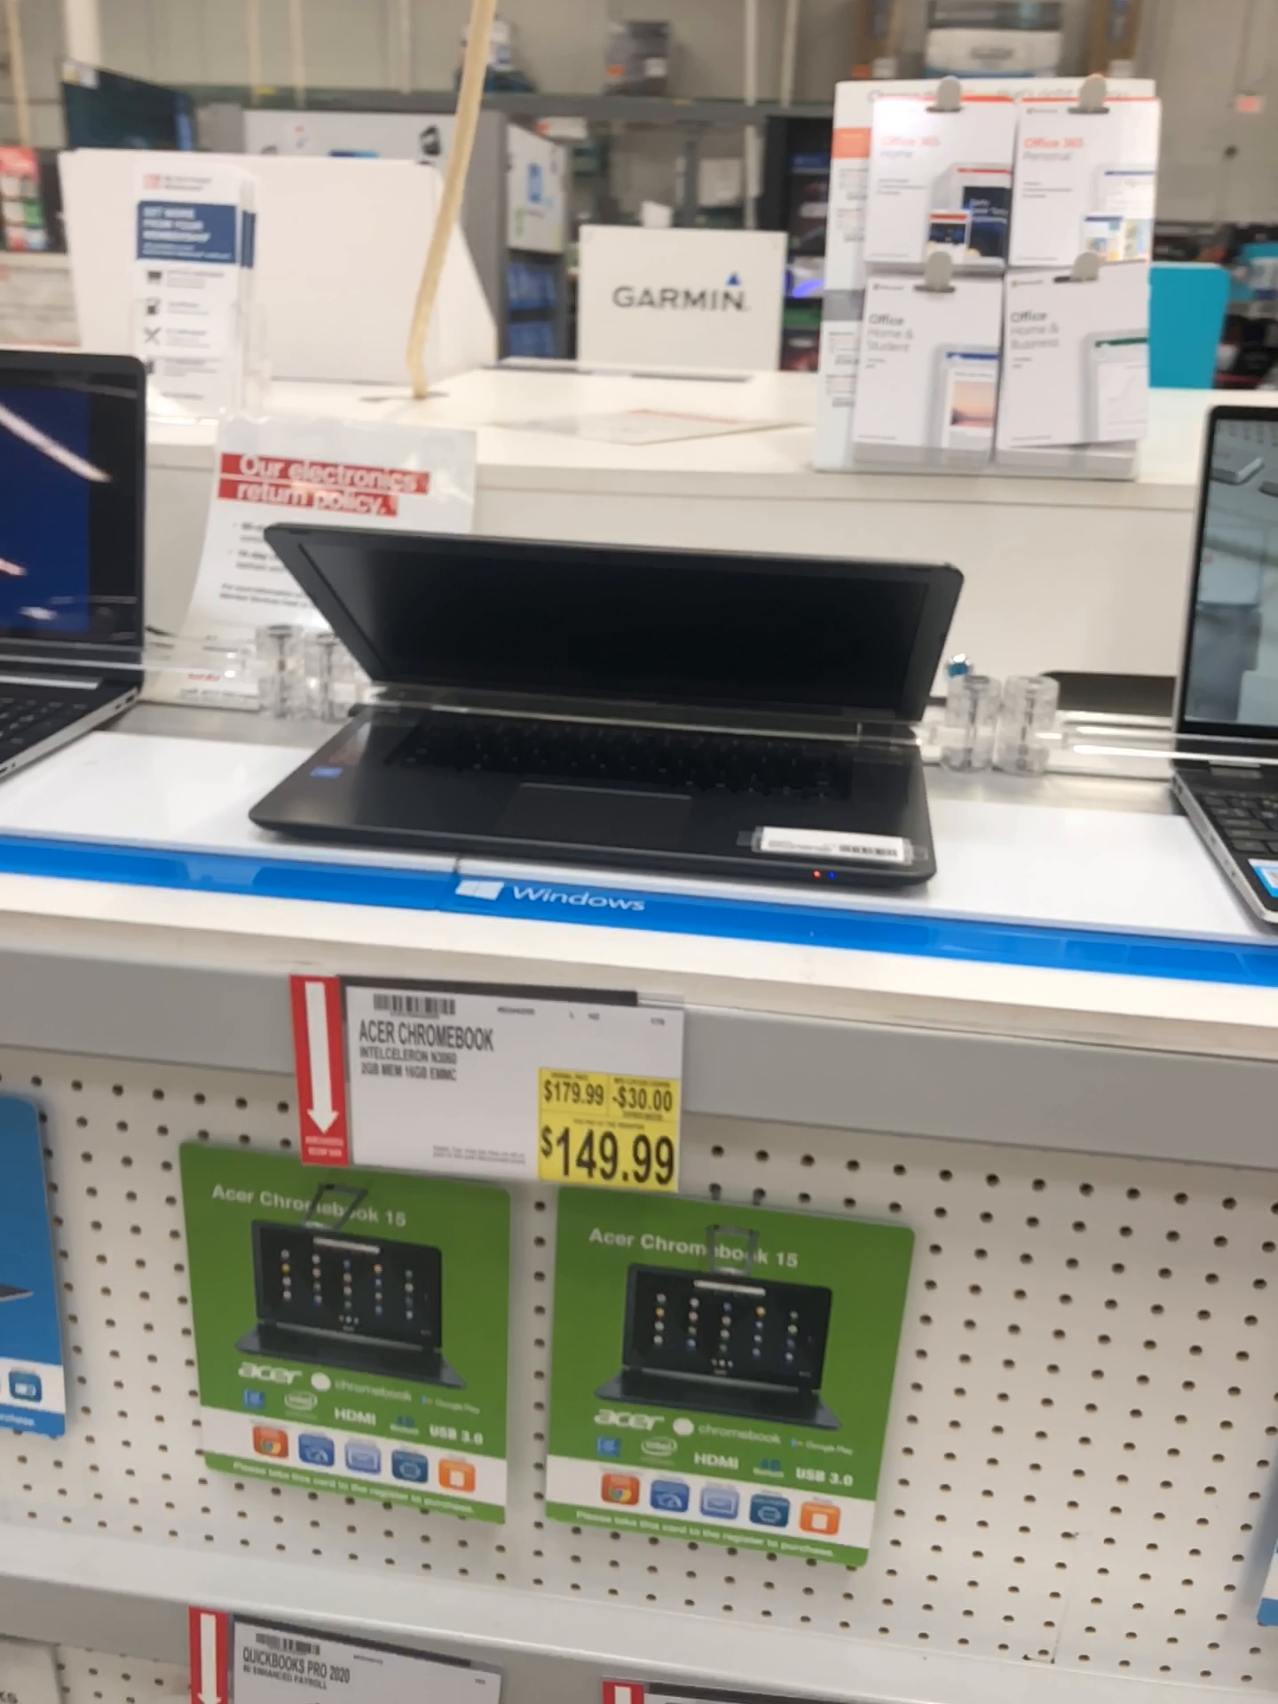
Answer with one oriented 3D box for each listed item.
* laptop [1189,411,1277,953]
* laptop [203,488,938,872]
[{"bbox_3d":[0.492,-0.113,0.752,0.317,0.208,0.292,5,22,12],"label":"laptop"},{"bbox_3d":[-0.025,-0.112,0.810,0.364,0.136,0.220,5,24,8],"label":"laptop"}]
